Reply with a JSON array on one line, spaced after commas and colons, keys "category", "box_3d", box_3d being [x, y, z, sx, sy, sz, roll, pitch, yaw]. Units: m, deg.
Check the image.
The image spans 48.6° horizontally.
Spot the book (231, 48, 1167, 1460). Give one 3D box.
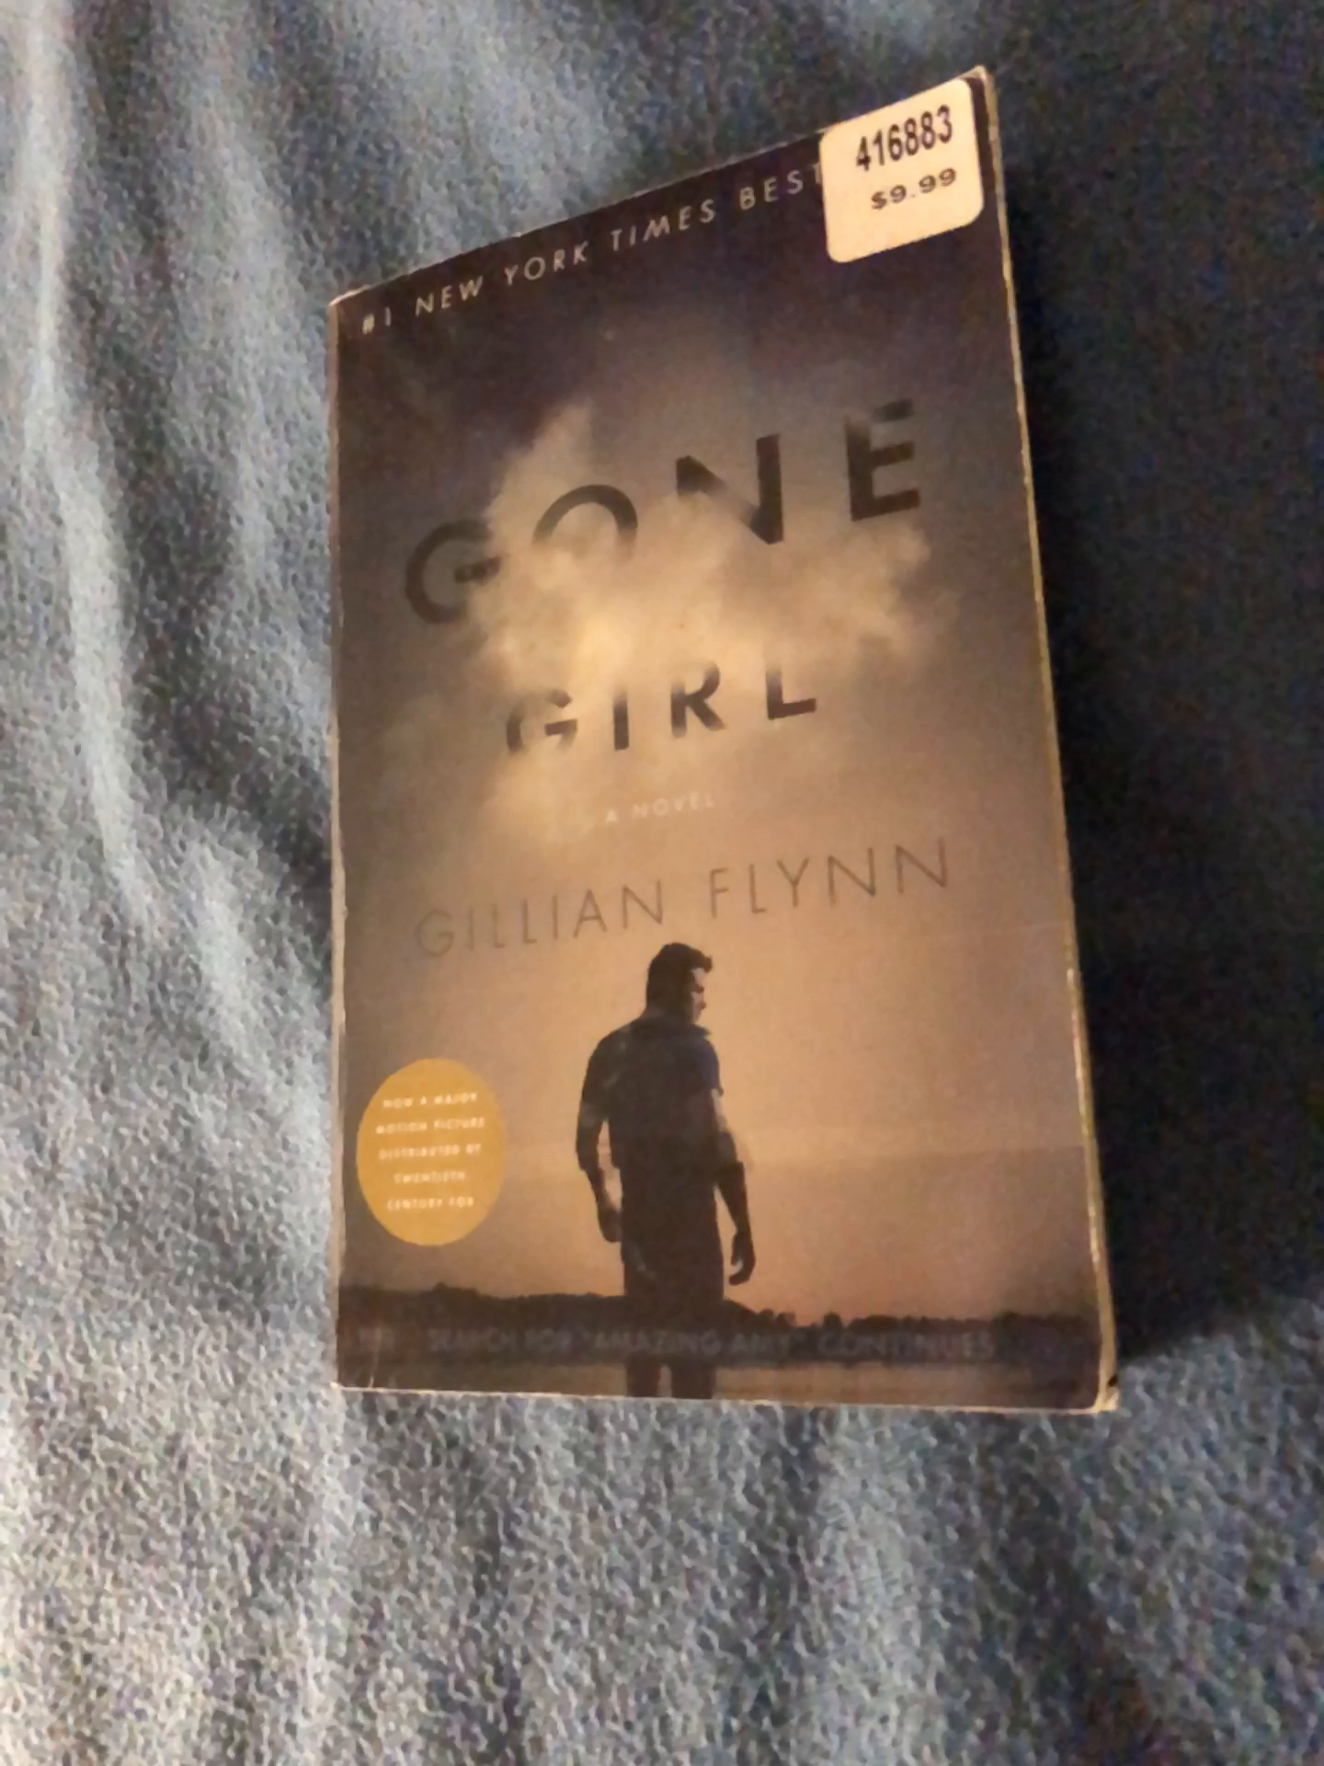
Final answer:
[{"category": "book", "box_3d": [-0.003, -0.015, 0.246, 0.140, 0.040, 0.200, -8, 78, 24]}]
